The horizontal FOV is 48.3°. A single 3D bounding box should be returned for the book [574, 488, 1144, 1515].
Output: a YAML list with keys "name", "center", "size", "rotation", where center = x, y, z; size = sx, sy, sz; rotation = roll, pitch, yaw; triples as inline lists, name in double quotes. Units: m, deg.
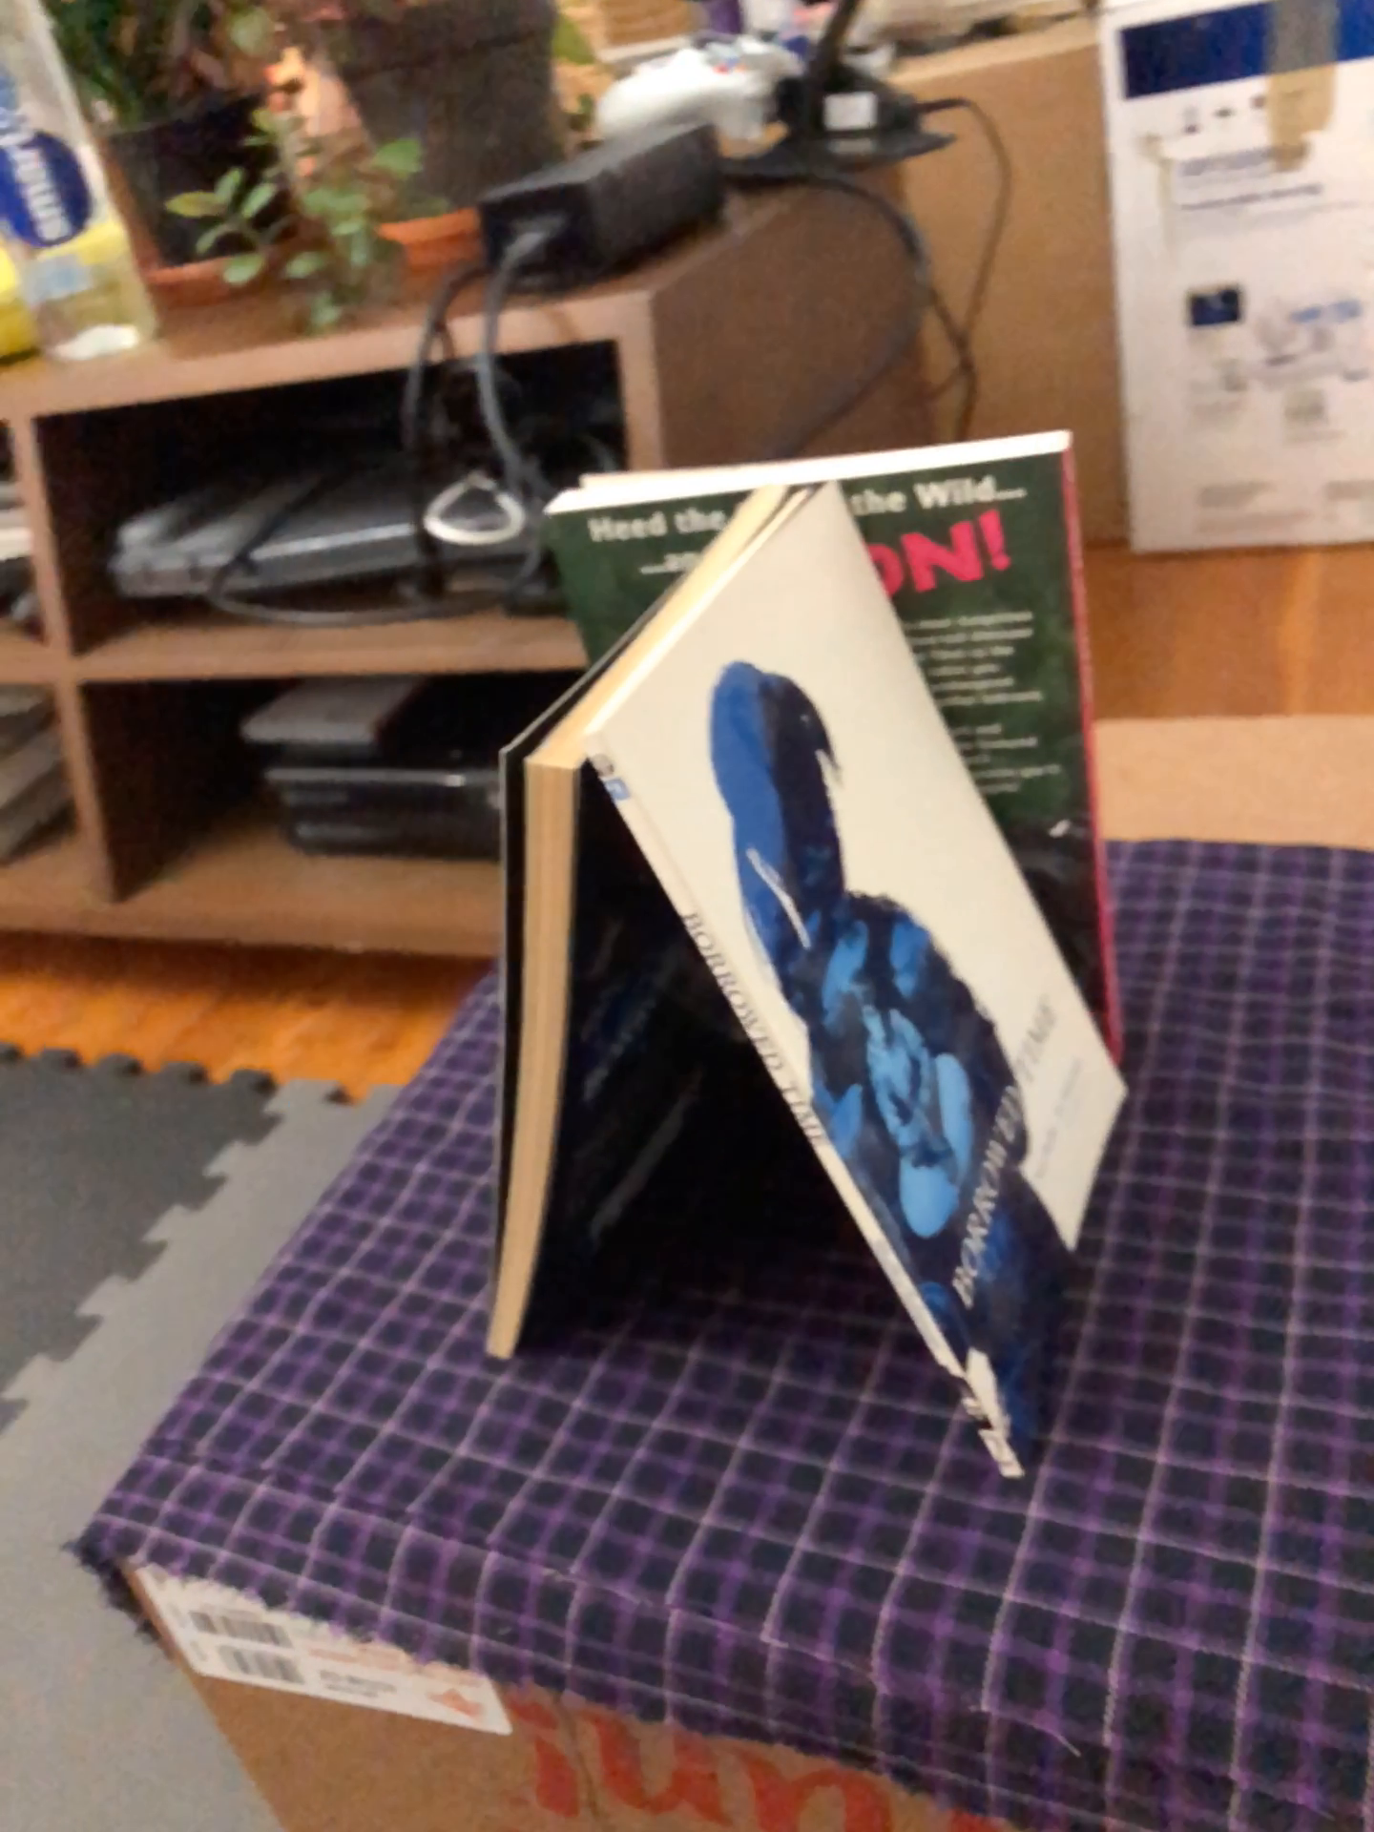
- name: "book"
  center: [0.056, 0.014, 0.361]
  size: [0.010, 0.199, 0.141]
  rotation: [-17, 23, 33]

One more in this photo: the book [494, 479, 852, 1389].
- name: "book"
  center: [-0.005, 0.007, 0.400]
  size: [0.010, 0.199, 0.151]
  rotation: [21, 41, 14]

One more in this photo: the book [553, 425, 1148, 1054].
- name: "book"
  center: [0.054, -0.040, 0.442]
  size: [0.140, 0.189, 0.020]
  rotation: [1, 40, 23]
